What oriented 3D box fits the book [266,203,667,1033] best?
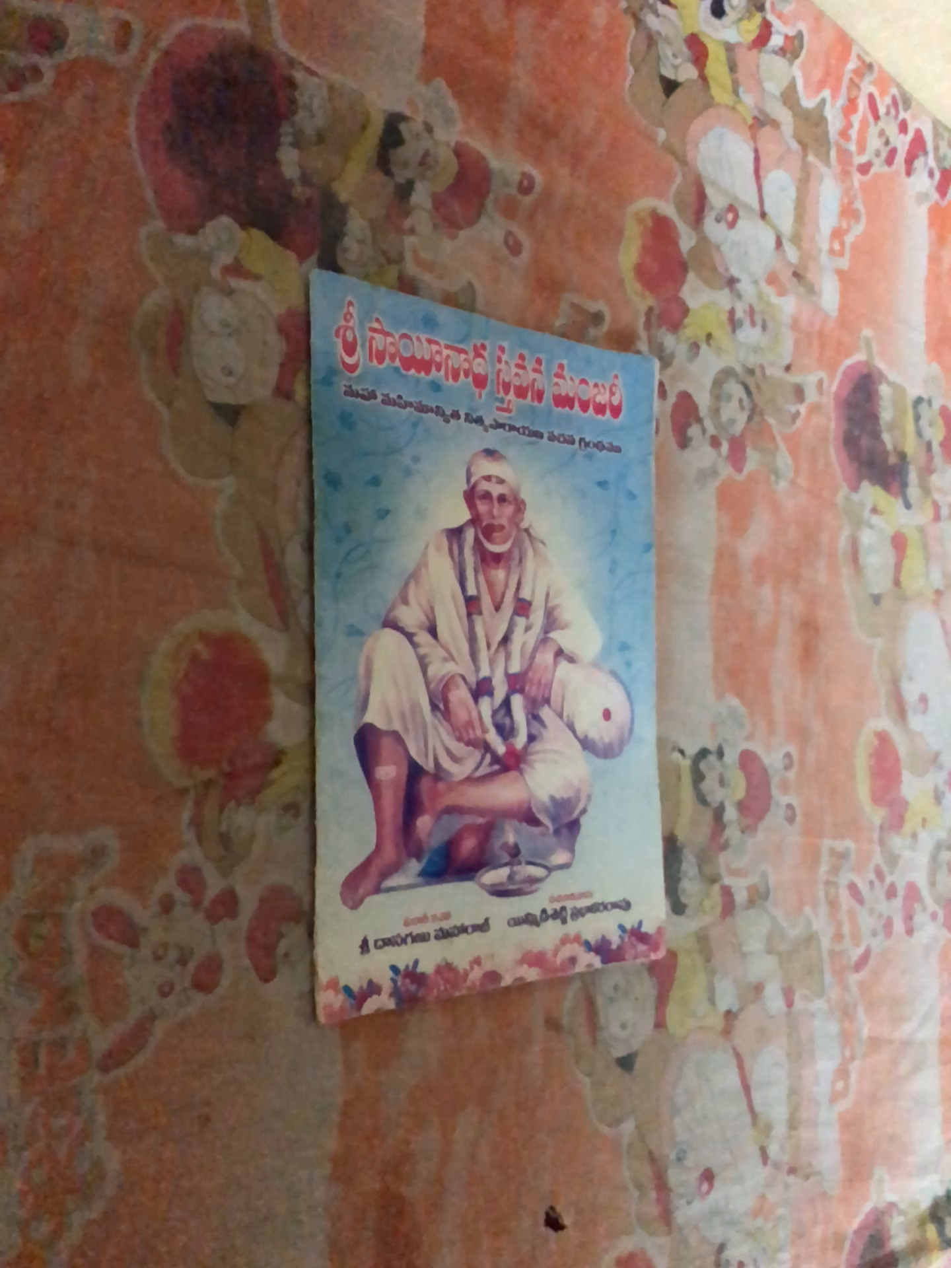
[{"bbox_3d":[0.005,-0.003,0.332,0.141,0.020,0.220,4,84,-39],"label":"book"}]
